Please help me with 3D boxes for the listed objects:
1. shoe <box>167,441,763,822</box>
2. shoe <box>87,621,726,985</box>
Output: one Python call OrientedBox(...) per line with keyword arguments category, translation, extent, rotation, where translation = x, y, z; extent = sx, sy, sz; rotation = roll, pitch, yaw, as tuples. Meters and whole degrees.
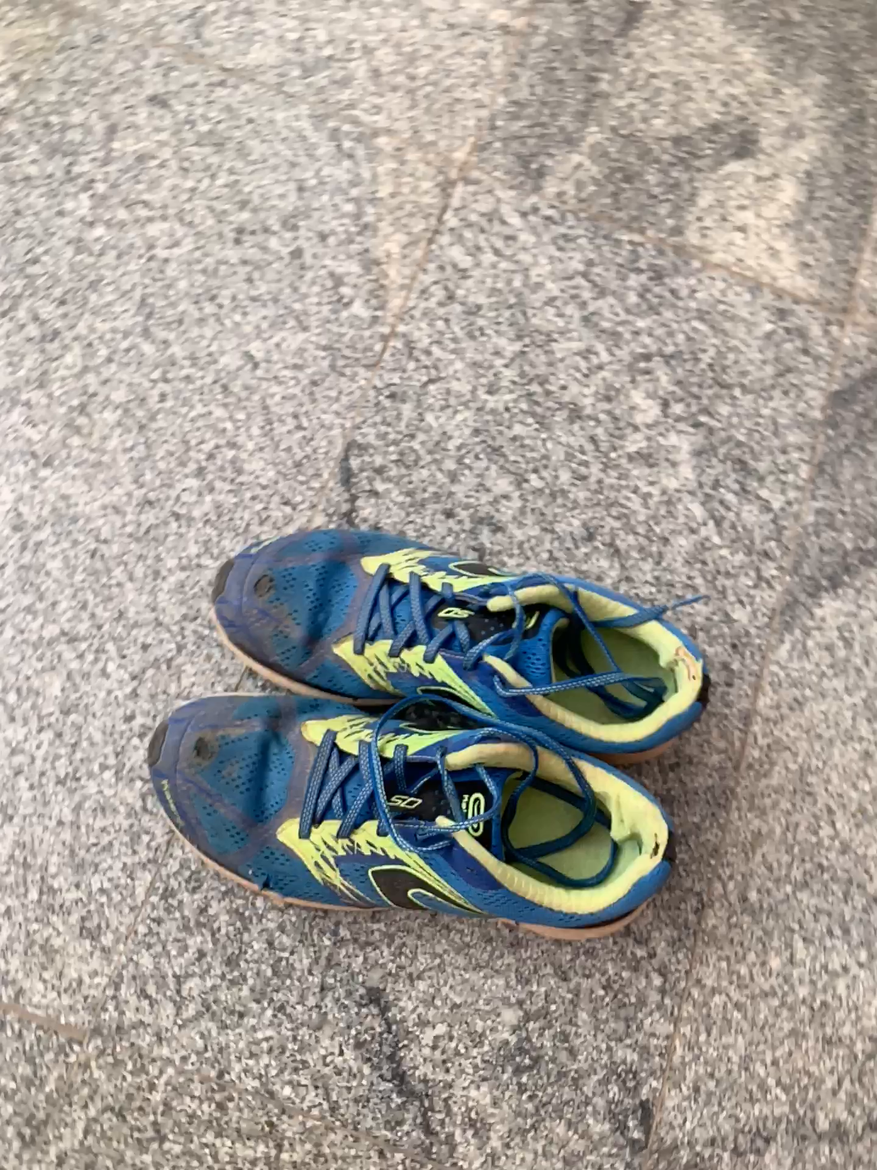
OrientedBox(category="shoe", translation=(0.018, 0.028, 0.490), extent=(0.290, 0.060, 0.110), rotation=(18, 69, -2))
OrientedBox(category="shoe", translation=(-0.008, 0.111, 0.453), extent=(0.290, 0.060, 0.100), rotation=(15, 60, -4))
